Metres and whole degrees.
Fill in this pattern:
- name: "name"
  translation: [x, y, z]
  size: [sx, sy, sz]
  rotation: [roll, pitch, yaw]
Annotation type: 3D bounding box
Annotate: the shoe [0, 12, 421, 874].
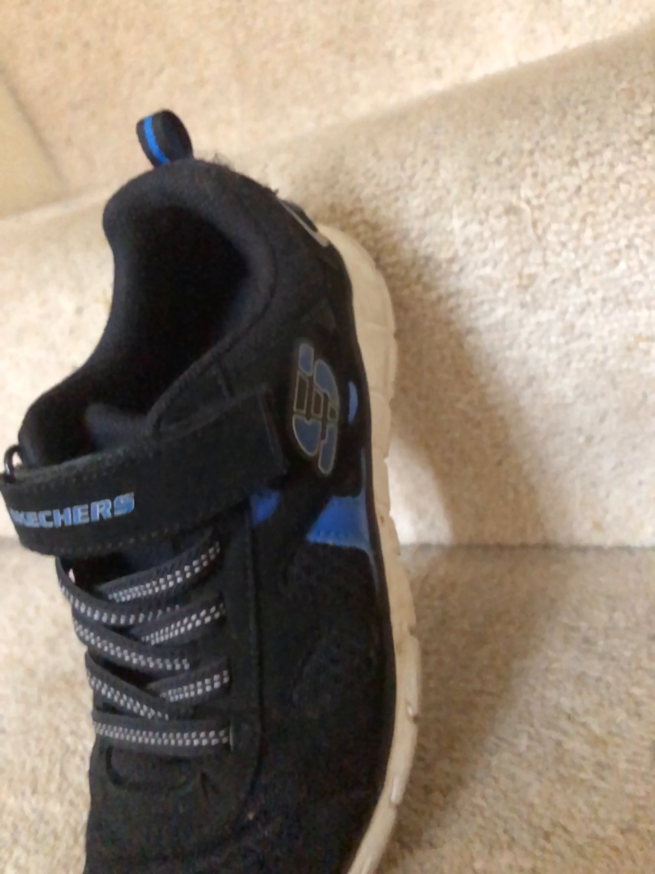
- name: "shoe"
  translation: [-0.040, 0.027, 0.205]
  size: [0.090, 0.221, 0.100]
  rotation: [-9, -17, 39]
